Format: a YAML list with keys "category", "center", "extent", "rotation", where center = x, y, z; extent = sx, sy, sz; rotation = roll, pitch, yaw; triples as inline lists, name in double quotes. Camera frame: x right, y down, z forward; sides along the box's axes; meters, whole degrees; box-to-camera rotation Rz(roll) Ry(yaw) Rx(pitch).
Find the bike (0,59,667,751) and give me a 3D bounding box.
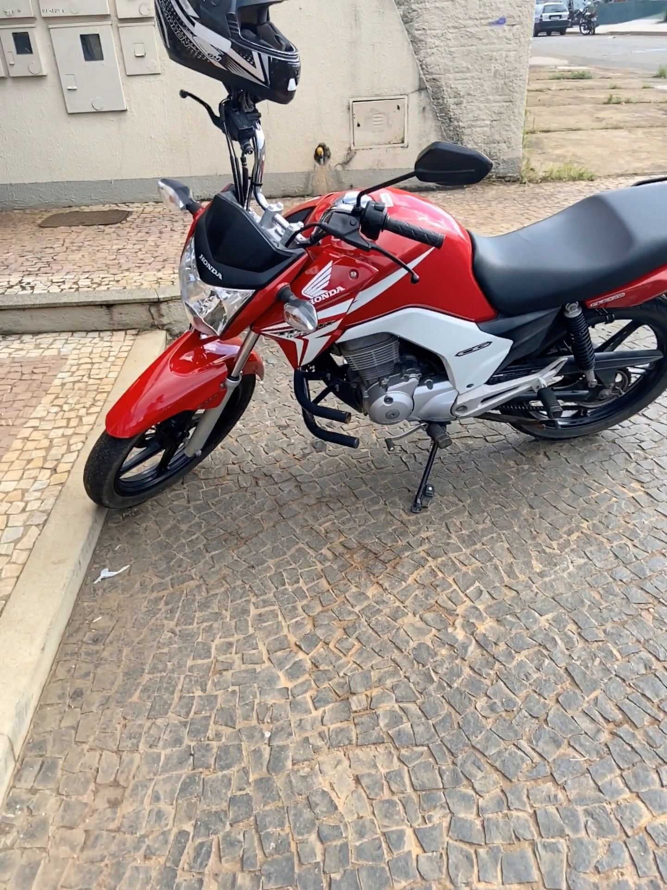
- category: "bike"
  center: [0.325, -0.267, 1.965]
  extent: [2.072, 1.382, 0.813]
  rotation: [-14, 32, -17]
